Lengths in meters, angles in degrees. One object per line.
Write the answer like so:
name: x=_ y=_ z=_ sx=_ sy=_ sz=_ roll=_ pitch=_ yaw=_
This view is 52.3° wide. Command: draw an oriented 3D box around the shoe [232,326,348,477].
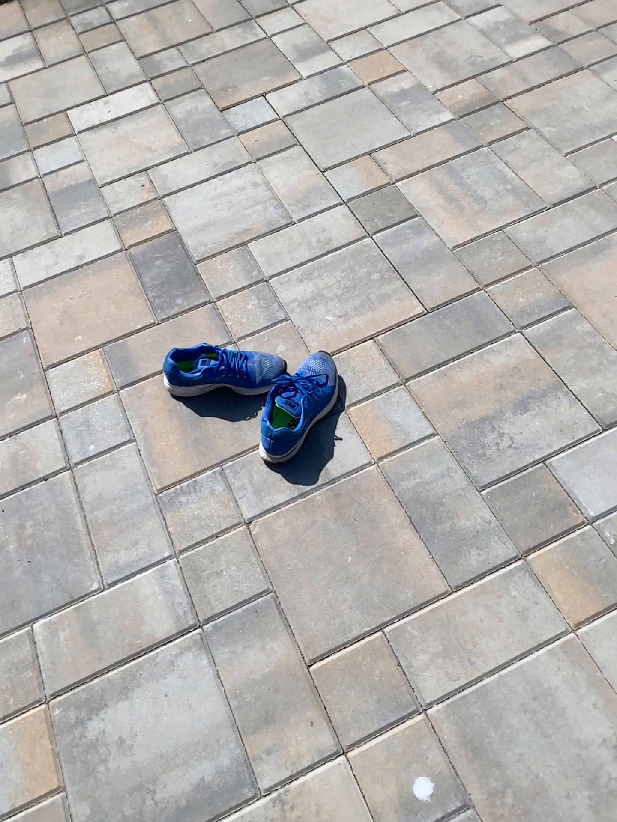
shoe: x=-0.030 y=-0.023 z=1.283 sx=0.120 sy=0.110 sz=0.270 roll=19 pitch=63 yaw=17

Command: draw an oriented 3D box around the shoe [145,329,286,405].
shoe: x=-0.193 y=-0.093 z=1.344 sx=0.280 sy=0.080 sz=0.120 roll=-3 pitch=59 yaw=4
